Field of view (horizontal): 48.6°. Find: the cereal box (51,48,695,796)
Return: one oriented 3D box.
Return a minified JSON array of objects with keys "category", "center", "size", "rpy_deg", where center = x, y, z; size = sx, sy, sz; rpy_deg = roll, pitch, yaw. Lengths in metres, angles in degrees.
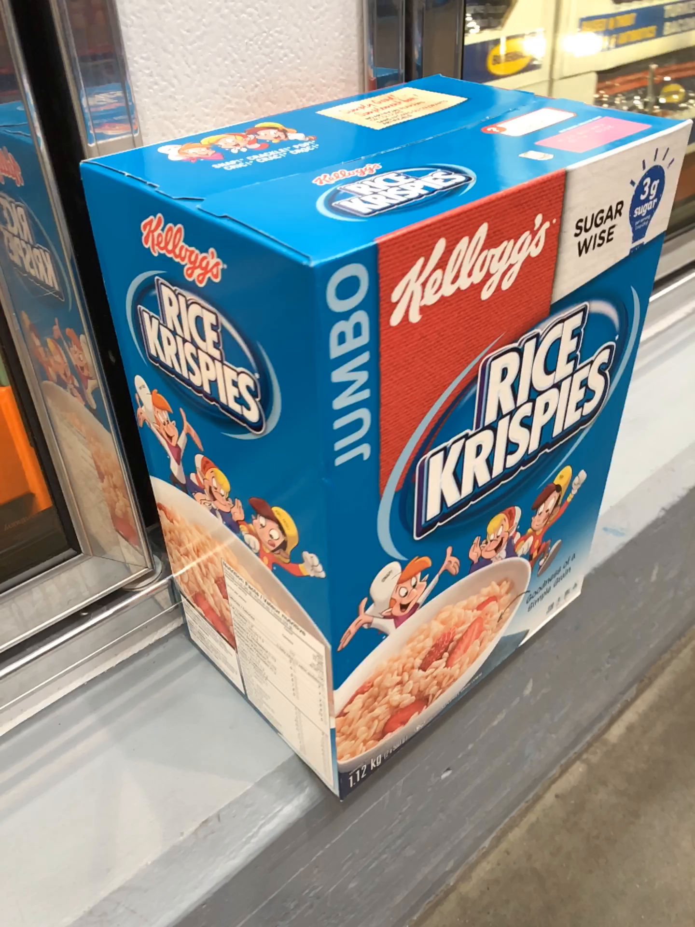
[{"category":"cereal box","center":[0.020,-0.029,0.436],"size":[0.240,0.319,0.161],"rpy_deg":[-30,47,-32]}]
